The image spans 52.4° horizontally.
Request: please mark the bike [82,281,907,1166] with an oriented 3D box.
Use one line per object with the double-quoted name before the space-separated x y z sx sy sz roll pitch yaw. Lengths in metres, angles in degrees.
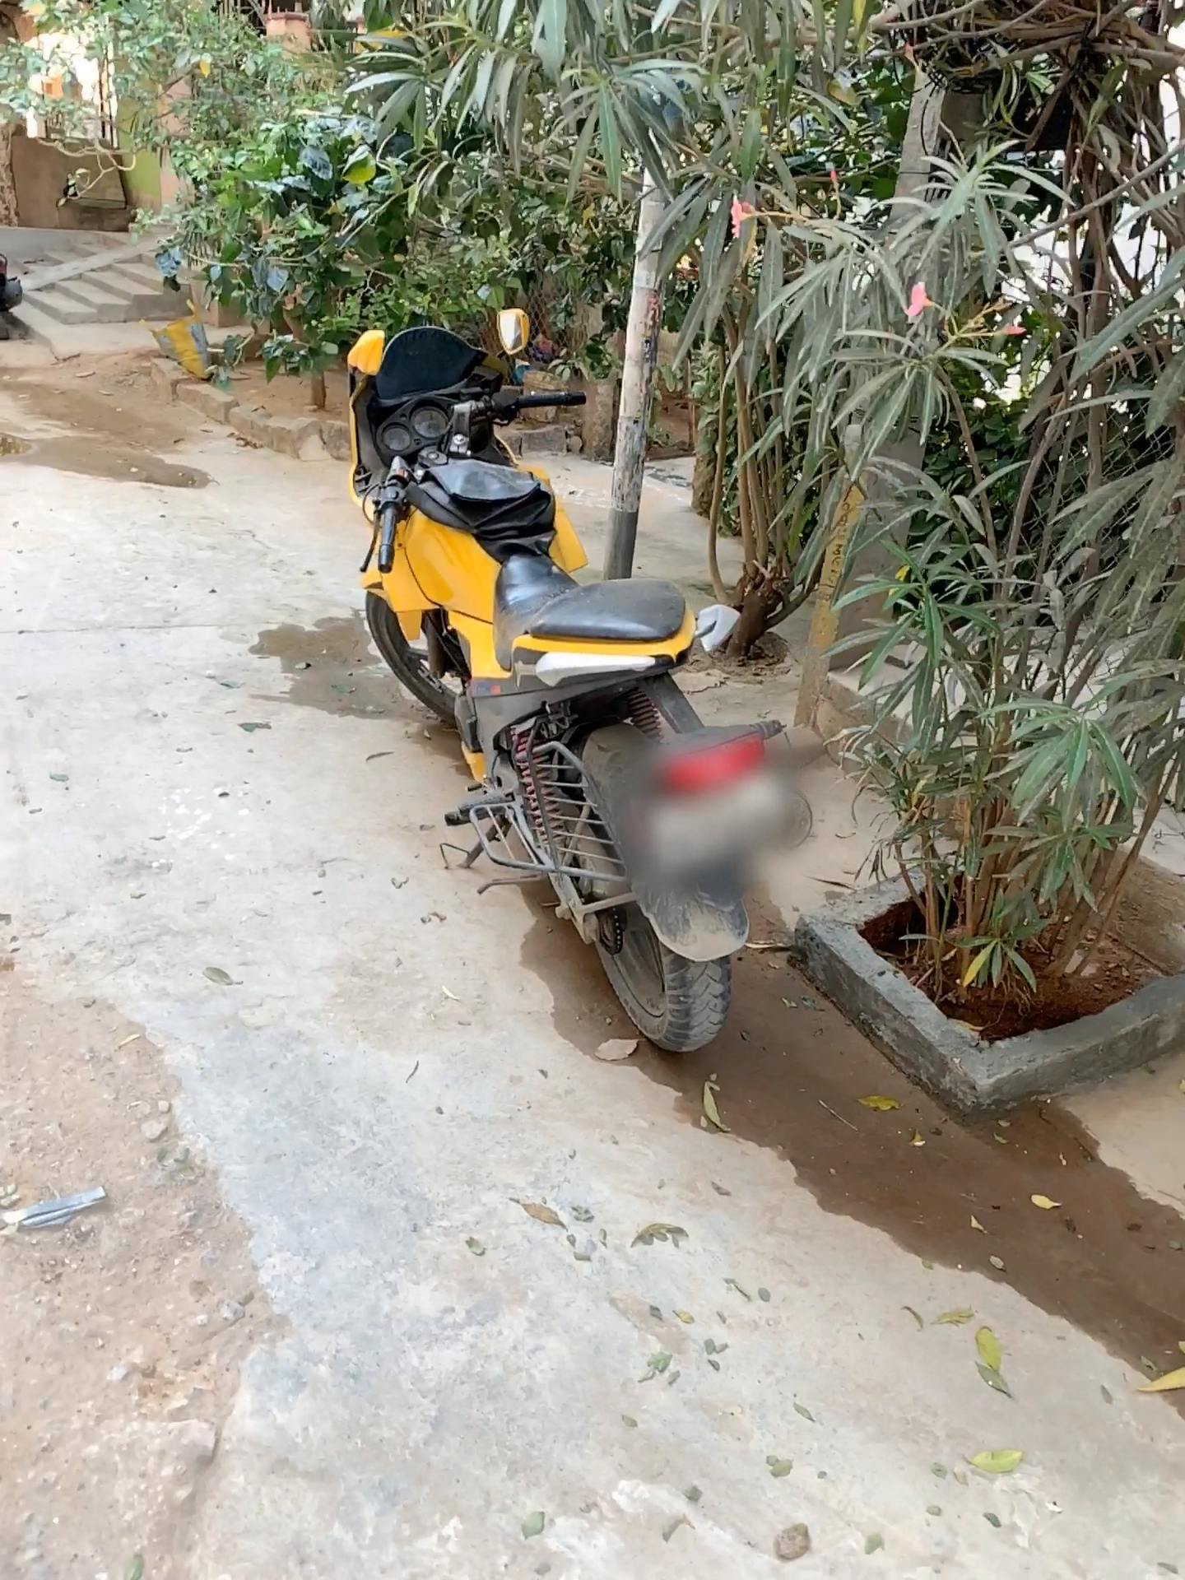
"bike" -0.398 -0.313 2.467 0.853 0.954 1.753 -8 34 -27
